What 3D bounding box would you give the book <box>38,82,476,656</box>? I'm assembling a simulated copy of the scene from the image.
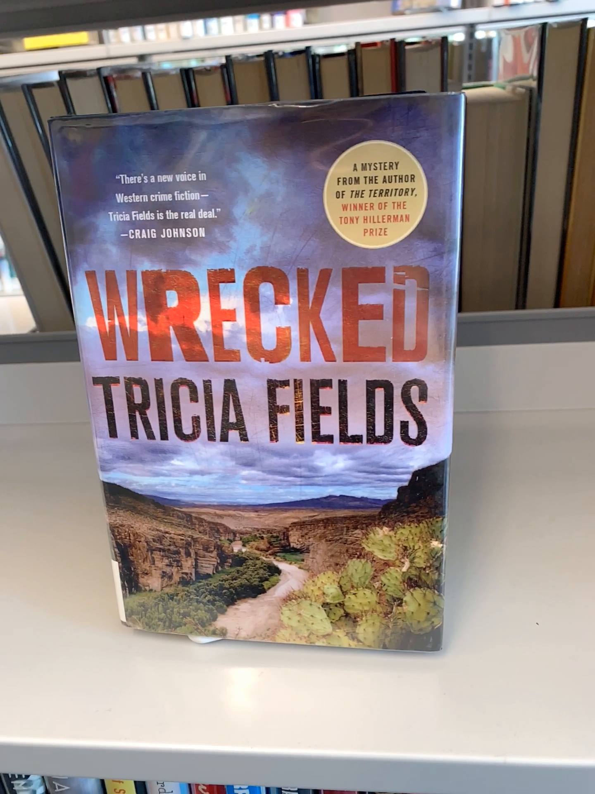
[{"bbox_3d":[-0.009,0.000,0.250,0.146,0.213,0.035,0,18,9],"label":"book"}]
